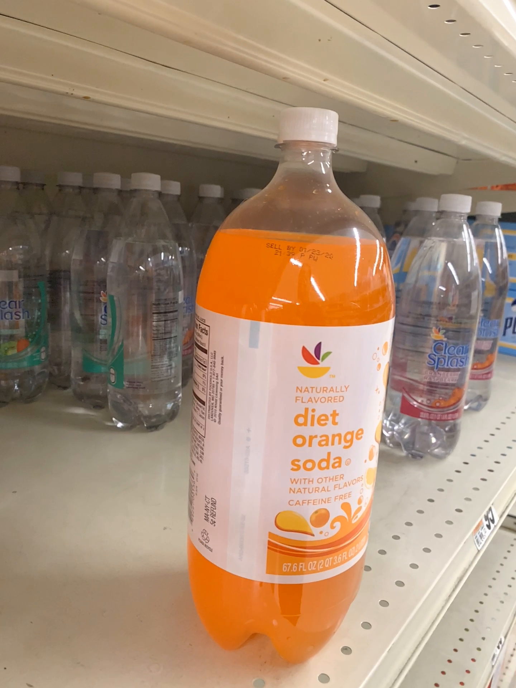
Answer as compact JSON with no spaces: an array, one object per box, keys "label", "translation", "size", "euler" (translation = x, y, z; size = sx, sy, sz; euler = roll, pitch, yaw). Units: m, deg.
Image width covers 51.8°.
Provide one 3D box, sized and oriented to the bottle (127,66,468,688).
[{"label":"bottle","translation":[0.011,0.024,0.295],"size":[0.120,0.289,0.110],"euler":[4,15,-1]}]
